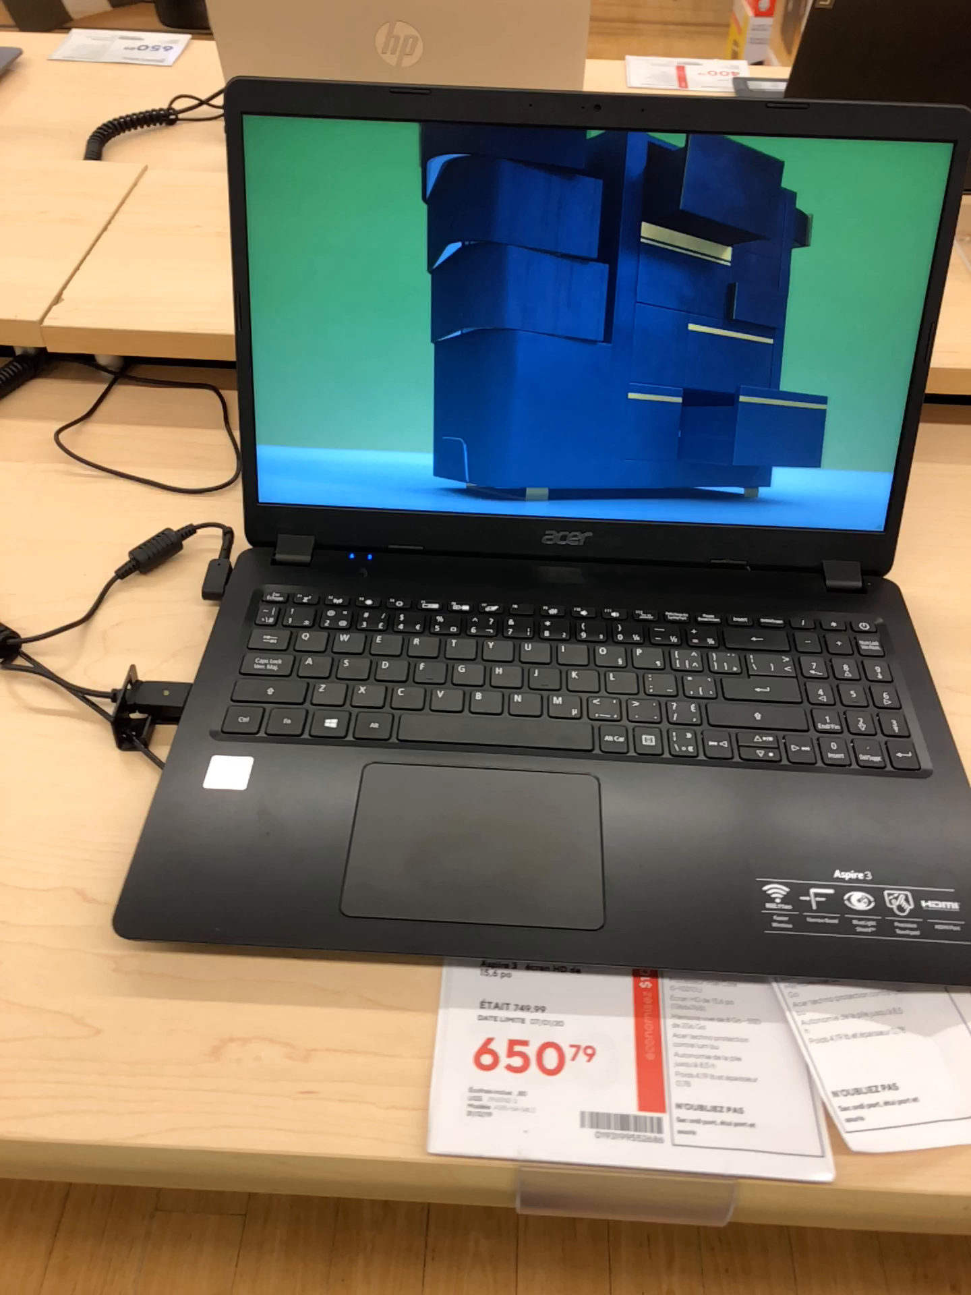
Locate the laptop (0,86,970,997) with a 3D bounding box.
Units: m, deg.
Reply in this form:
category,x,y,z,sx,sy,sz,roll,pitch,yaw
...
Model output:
category,x,y,z,sx,sy,sz,roll,pitch,yaw
laptop,0.046,-0.067,0.459,0.354,0.210,0.329,4,44,1
